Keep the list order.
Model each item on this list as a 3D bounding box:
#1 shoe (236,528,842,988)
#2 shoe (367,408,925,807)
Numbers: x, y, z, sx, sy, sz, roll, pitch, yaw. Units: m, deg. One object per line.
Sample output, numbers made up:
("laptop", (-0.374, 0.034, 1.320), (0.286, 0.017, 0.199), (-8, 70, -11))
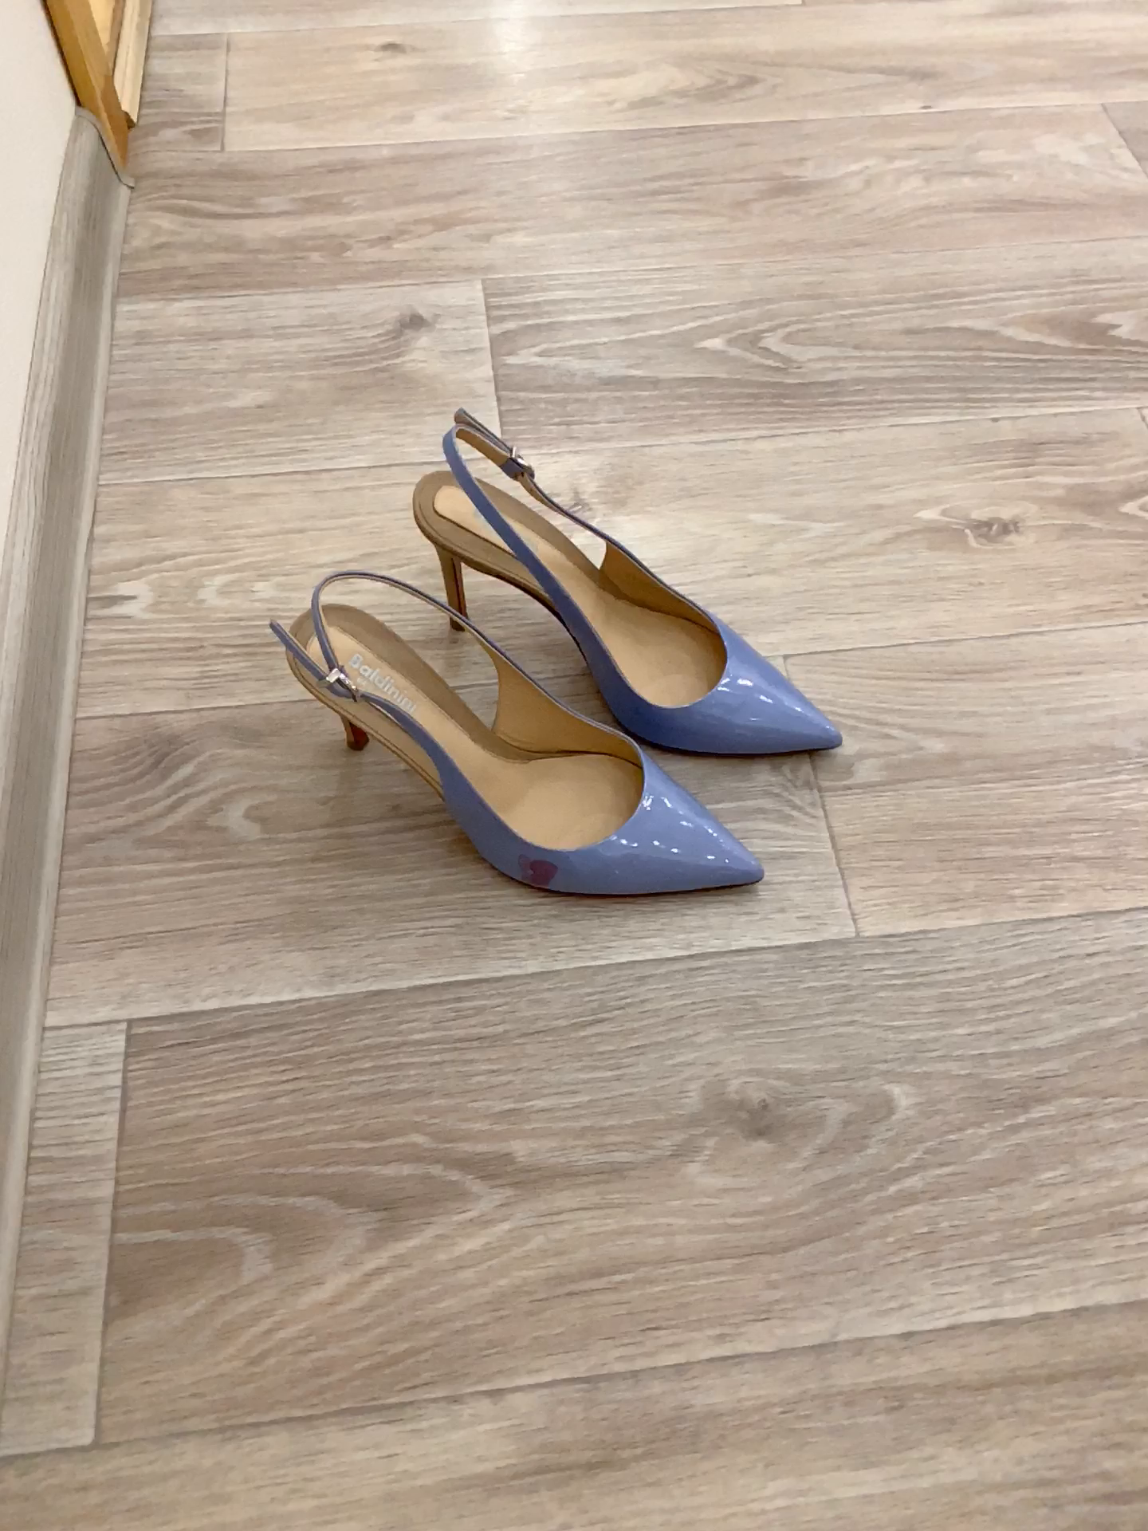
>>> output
("shoe", (-0.015, -0.004, 0.520), (0.230, 0.100, 0.090), (21, 60, 12))
("shoe", (0.032, -0.075, 0.561), (0.230, 0.100, 0.090), (17, 59, 9))
